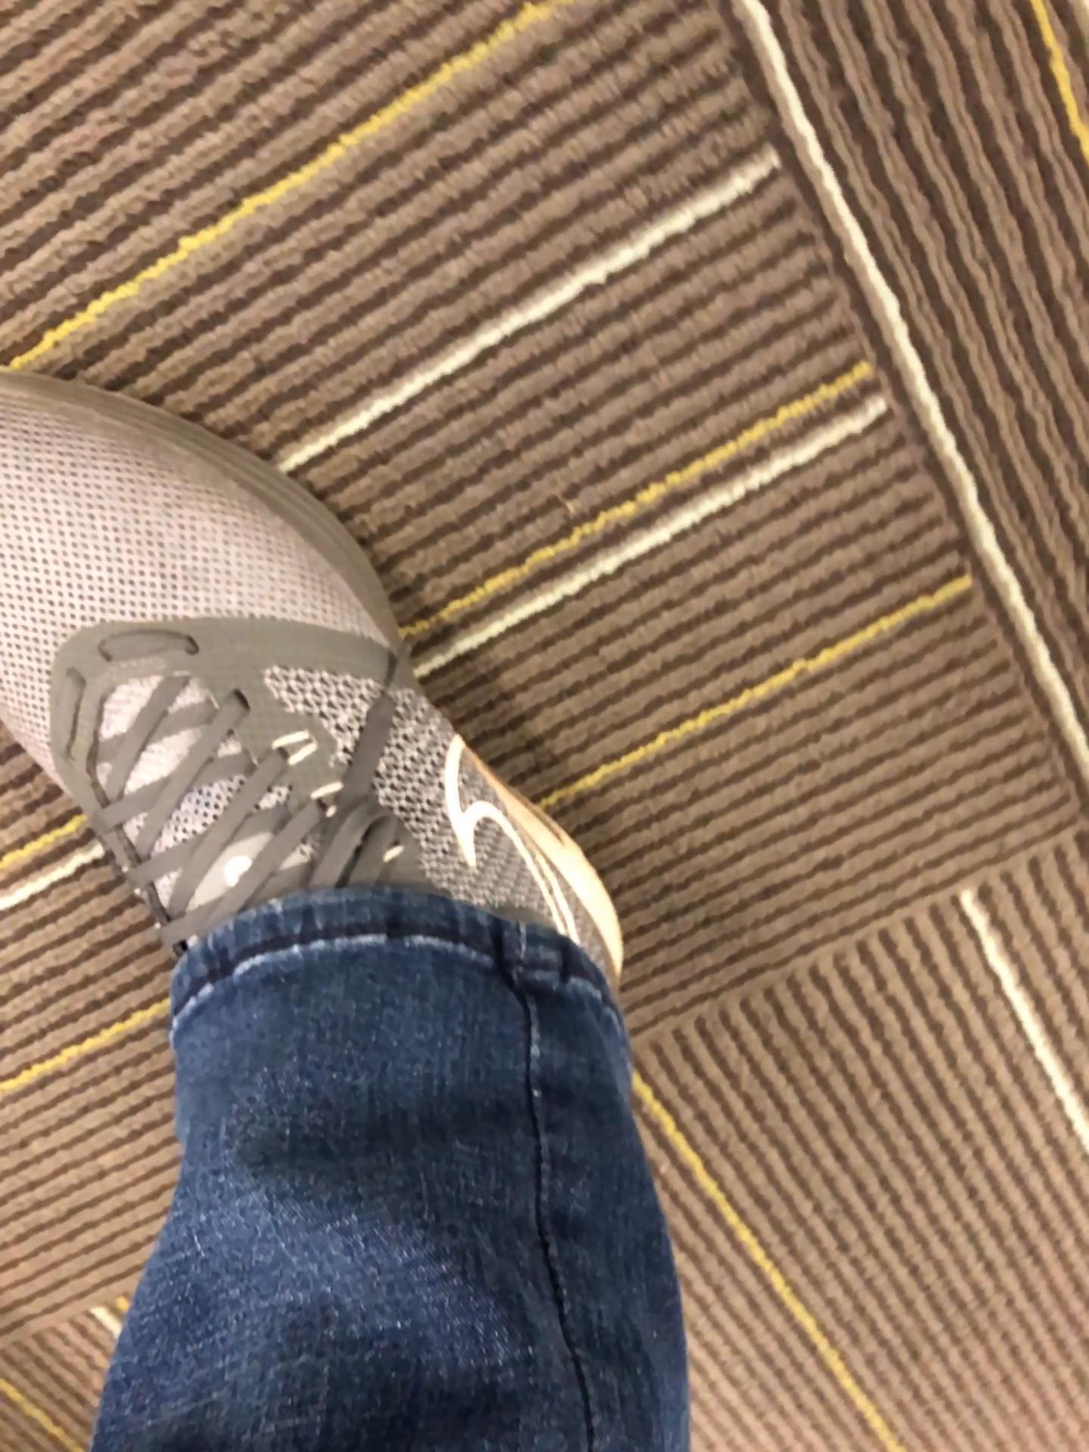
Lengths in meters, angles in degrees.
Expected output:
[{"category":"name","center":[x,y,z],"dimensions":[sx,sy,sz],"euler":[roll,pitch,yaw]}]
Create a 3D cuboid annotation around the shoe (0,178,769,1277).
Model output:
[{"category":"shoe","center":[-0.078,0.012,0.351],"dimensions":[0.120,0.060,0.300],"euler":[-38,102,15]}]
